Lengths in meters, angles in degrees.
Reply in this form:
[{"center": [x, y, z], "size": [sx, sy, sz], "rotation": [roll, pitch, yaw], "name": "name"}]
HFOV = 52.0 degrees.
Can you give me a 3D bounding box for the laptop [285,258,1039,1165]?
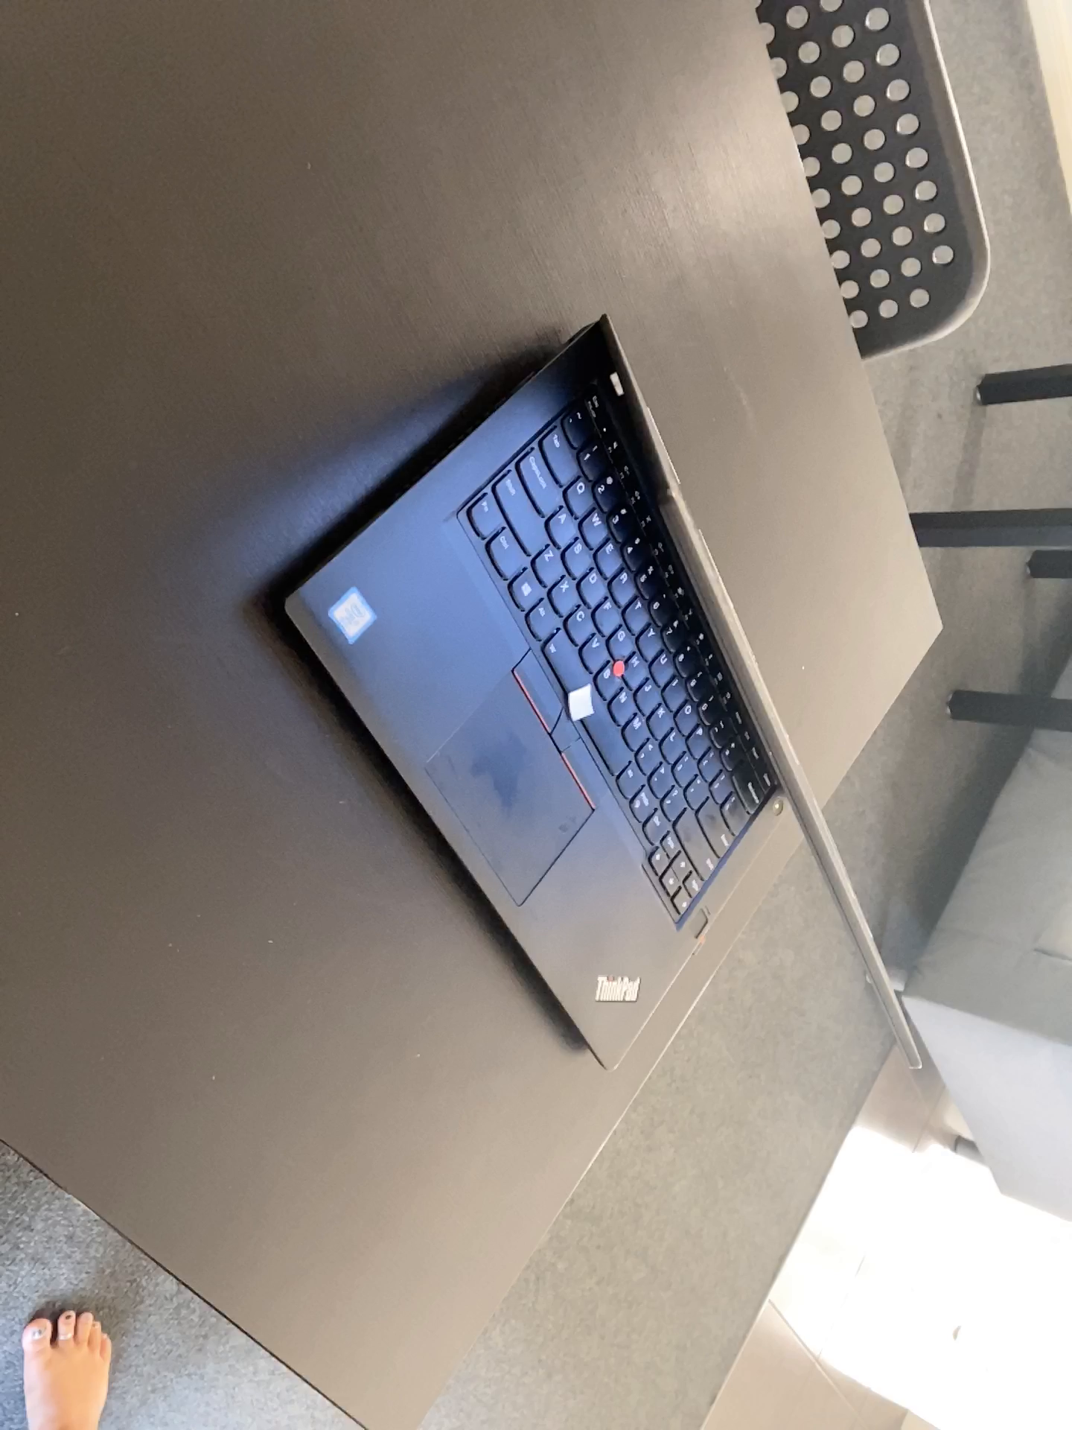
[{"center": [0.084, 0.005, 0.488], "size": [0.216, 0.138, 0.300], "rotation": [-50, 127, -27], "name": "laptop"}]
